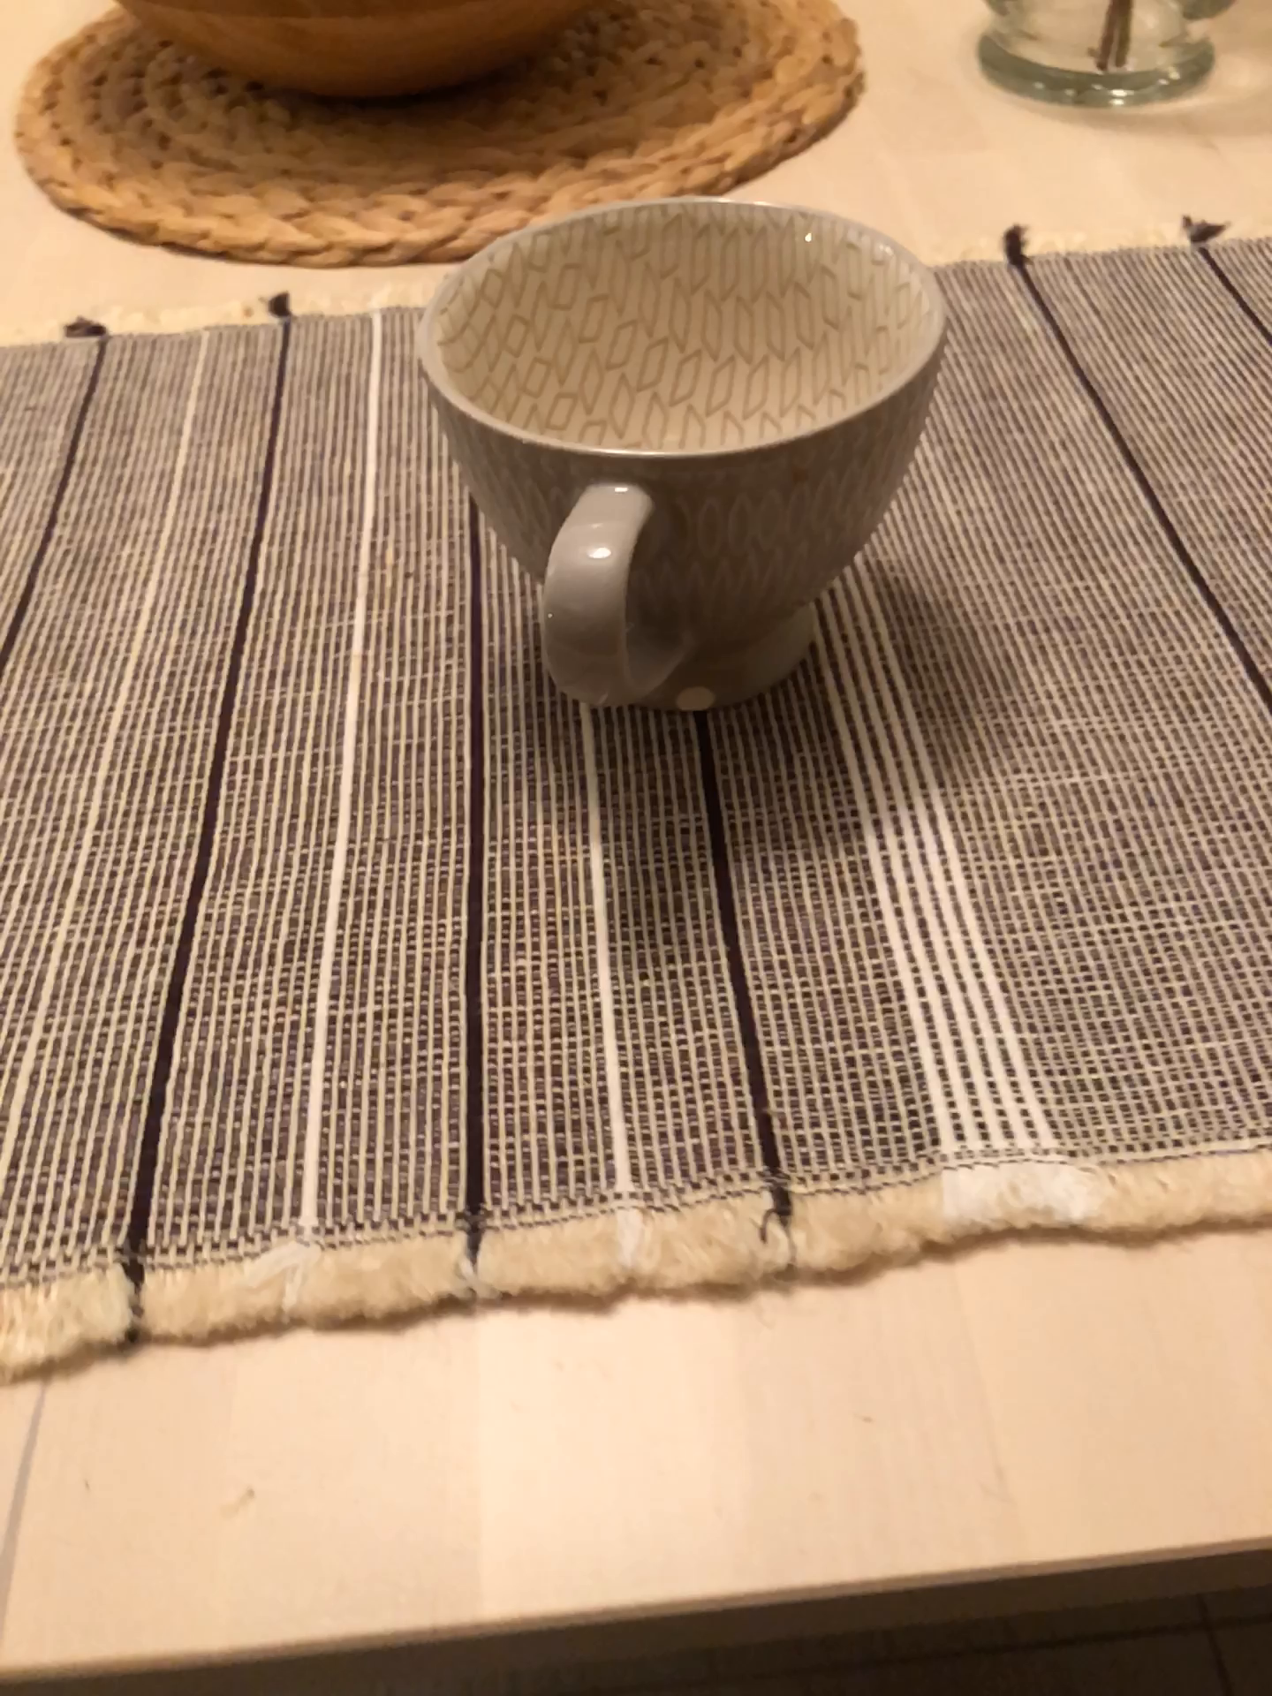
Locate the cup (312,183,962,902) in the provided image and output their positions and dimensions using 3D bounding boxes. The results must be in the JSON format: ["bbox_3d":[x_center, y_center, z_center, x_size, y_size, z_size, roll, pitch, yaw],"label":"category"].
[{"bbox_3d":[0.011,-0.075,0.317,0.110,0.080,0.151,4,48,7],"label":"cup"}]
